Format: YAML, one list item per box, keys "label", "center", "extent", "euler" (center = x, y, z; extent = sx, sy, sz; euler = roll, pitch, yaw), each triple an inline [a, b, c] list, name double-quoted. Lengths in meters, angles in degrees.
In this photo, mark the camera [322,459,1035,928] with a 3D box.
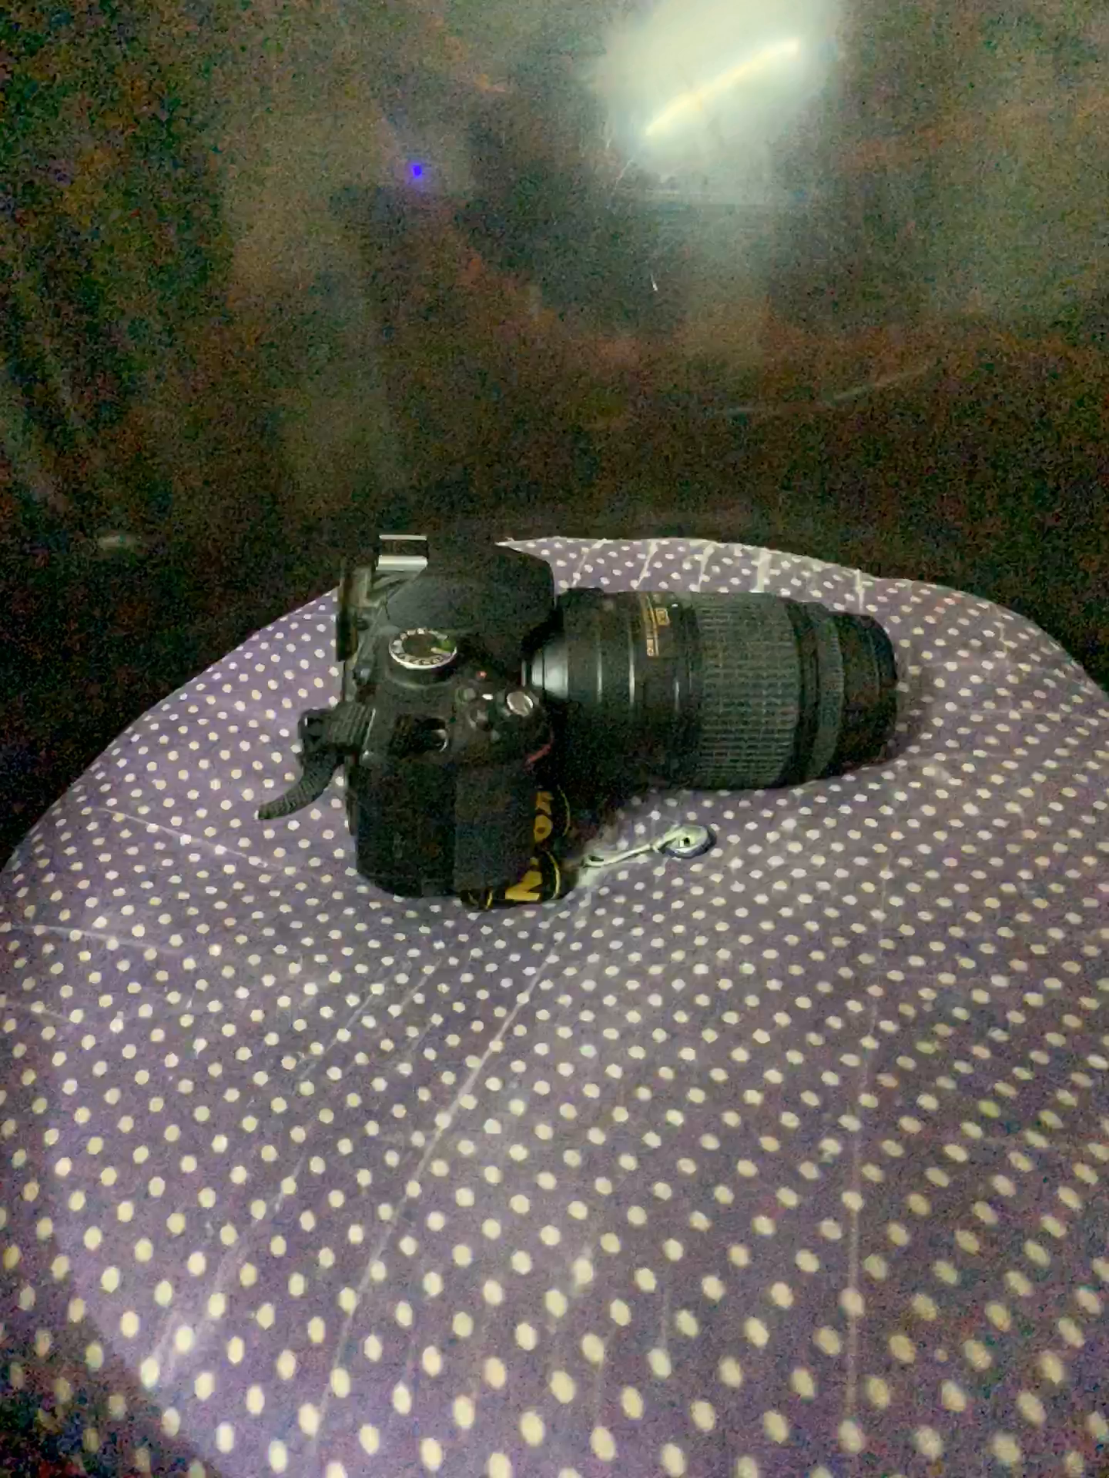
- label: "camera"
  center: [0.028, -0.022, 0.398]
  extent: [0.200, 0.100, 0.141]
  euler: [0, 35, -7]
